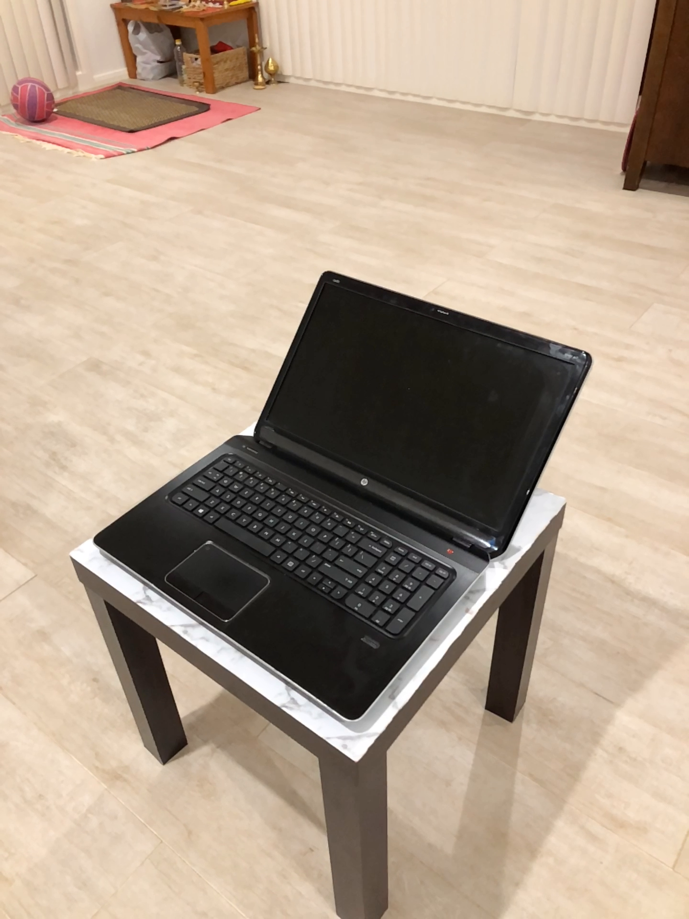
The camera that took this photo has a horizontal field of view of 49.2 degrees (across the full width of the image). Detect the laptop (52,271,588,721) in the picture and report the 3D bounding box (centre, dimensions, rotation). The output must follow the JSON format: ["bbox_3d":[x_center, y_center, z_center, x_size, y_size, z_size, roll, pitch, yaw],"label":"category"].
[{"bbox_3d":[-0.013,-0.010,0.865,0.387,0.169,0.439,26,47,31],"label":"laptop"}]
